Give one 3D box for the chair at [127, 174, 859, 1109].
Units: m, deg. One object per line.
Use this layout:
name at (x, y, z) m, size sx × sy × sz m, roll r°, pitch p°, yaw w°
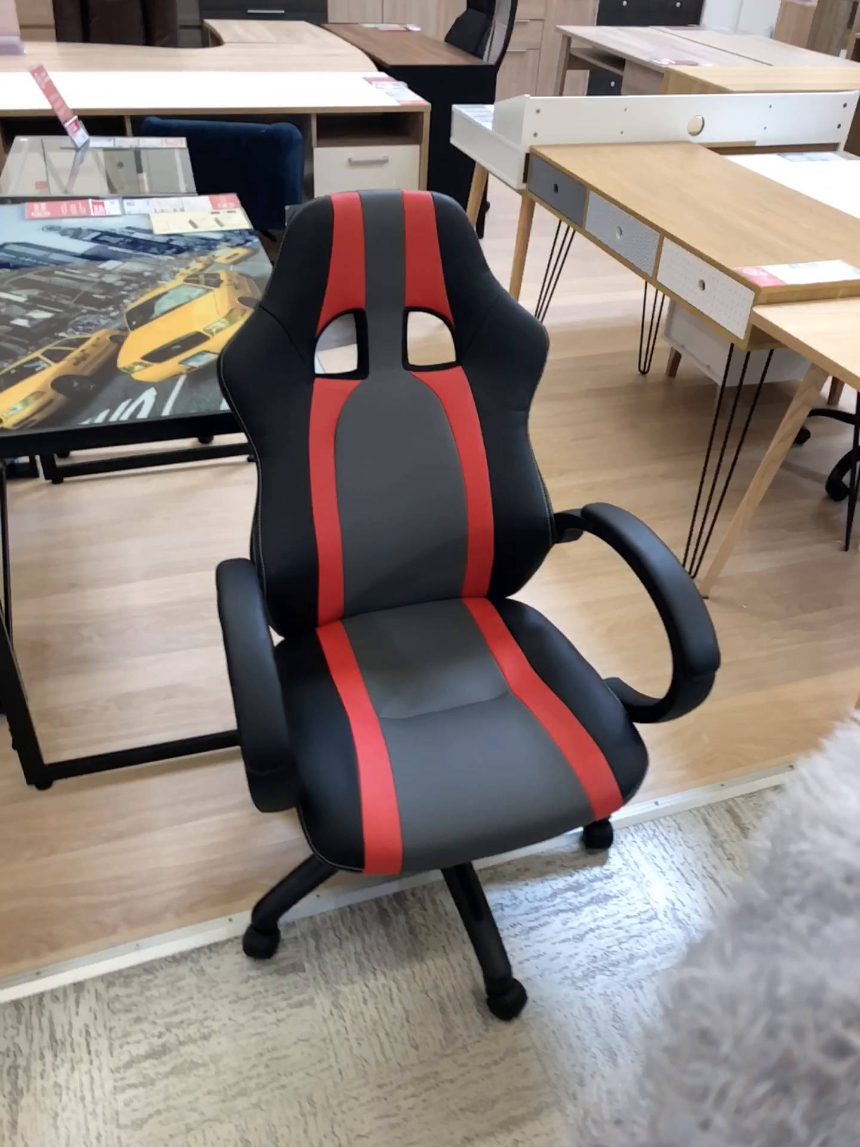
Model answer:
chair at (0.037, 0.043, 1.269) m, size 0.692 × 0.924 × 0.693 m, roll -9°, pitch 37°, yaw -17°
